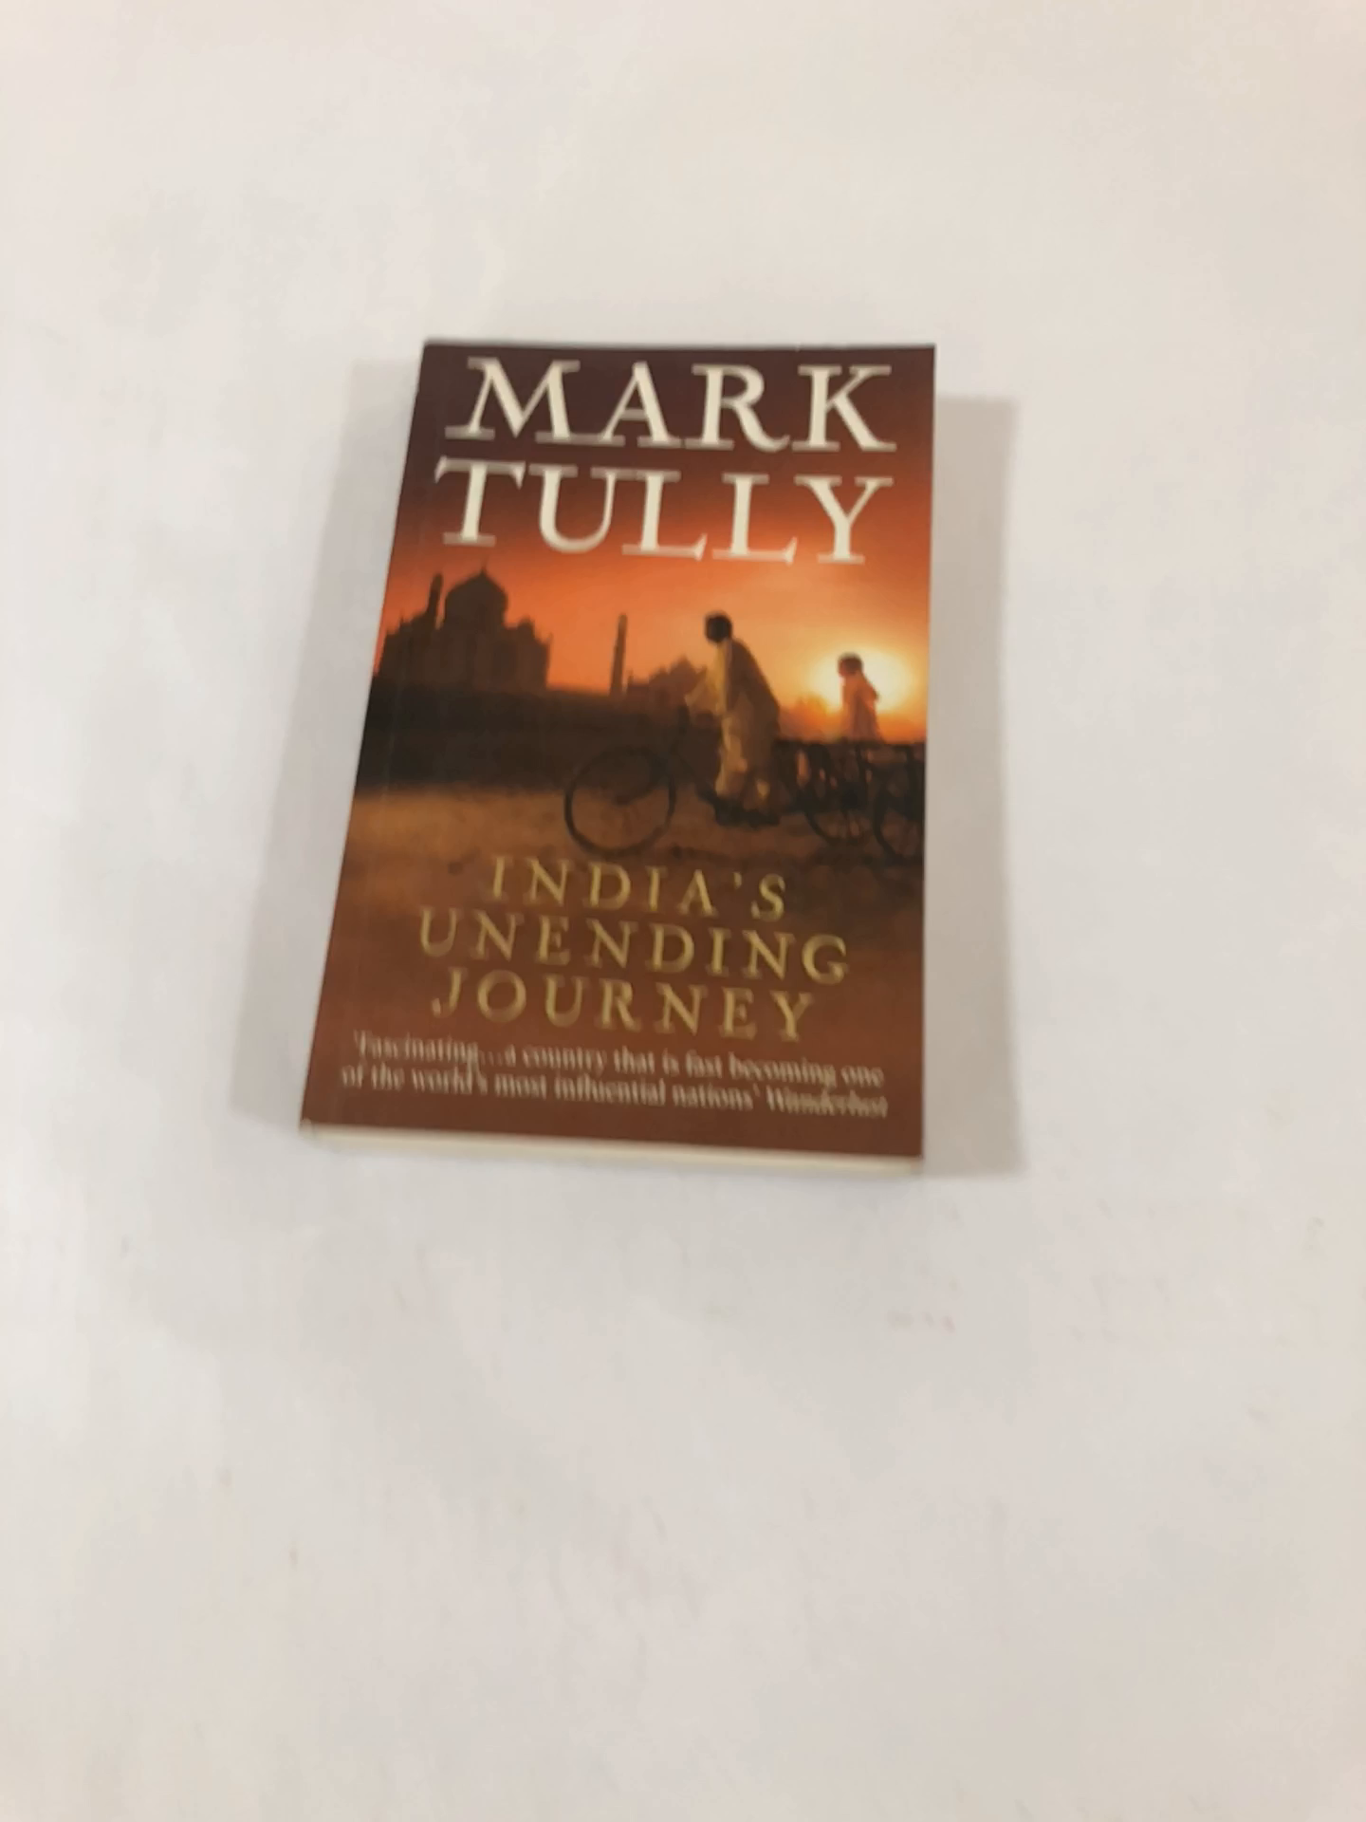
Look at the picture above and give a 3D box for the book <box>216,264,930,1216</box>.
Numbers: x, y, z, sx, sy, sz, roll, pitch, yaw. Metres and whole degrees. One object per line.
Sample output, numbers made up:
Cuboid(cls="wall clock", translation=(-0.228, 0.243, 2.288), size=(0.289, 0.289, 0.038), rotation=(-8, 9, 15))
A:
Cuboid(cls="book", translation=(-0.015, -0.046, 0.338), size=(0.130, 0.030, 0.210), rotation=(4, 69, 2))
